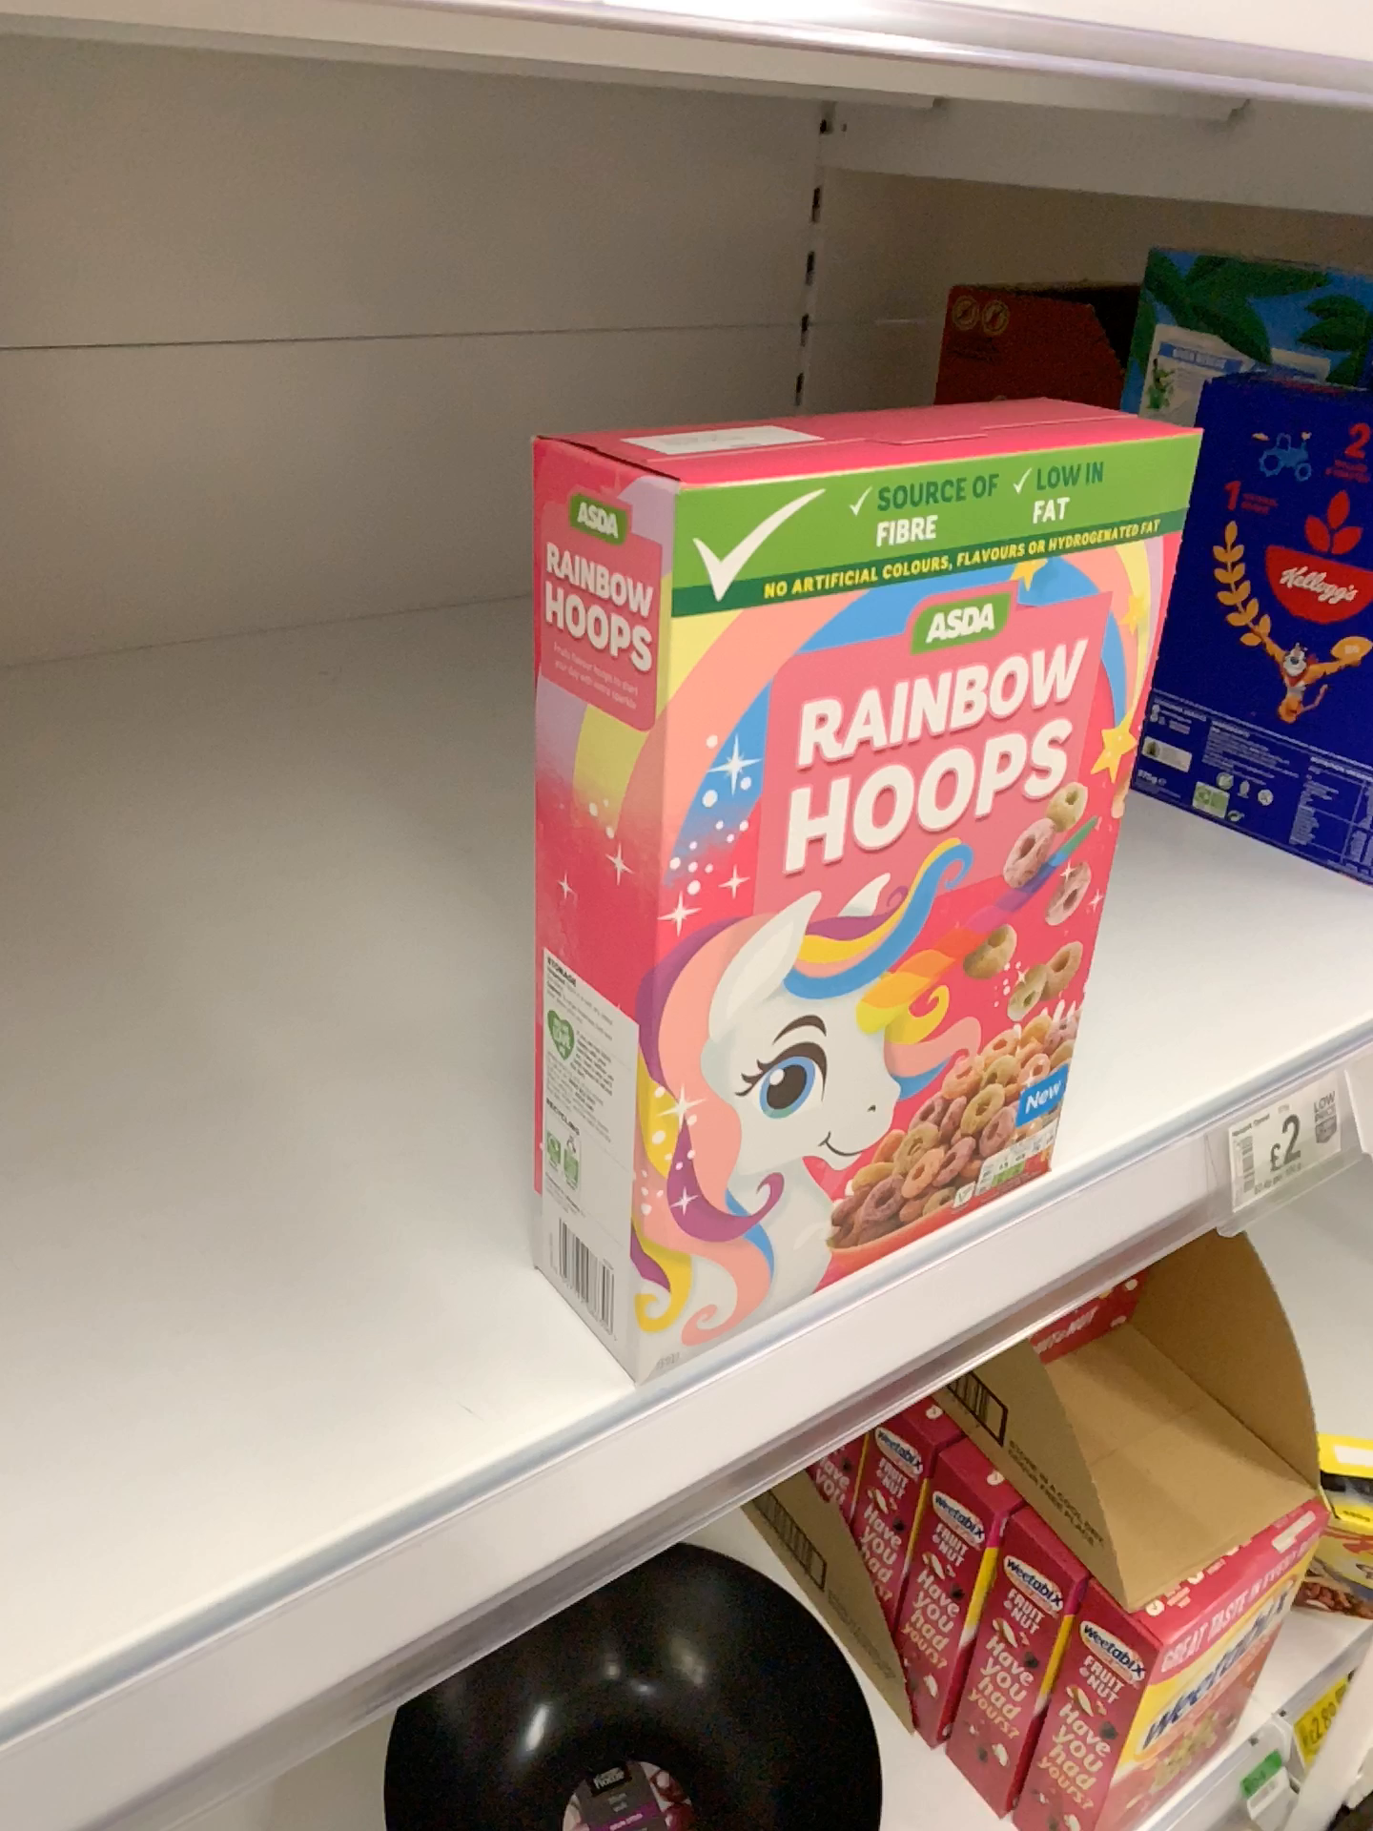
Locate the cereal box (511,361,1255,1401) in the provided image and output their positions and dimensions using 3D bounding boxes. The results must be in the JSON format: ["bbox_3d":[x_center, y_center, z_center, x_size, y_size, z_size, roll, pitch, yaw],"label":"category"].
[{"bbox_3d":[0.053,-0.015,0.435,0.211,0.277,0.060,-17,35,-33],"label":"cereal box"}]
